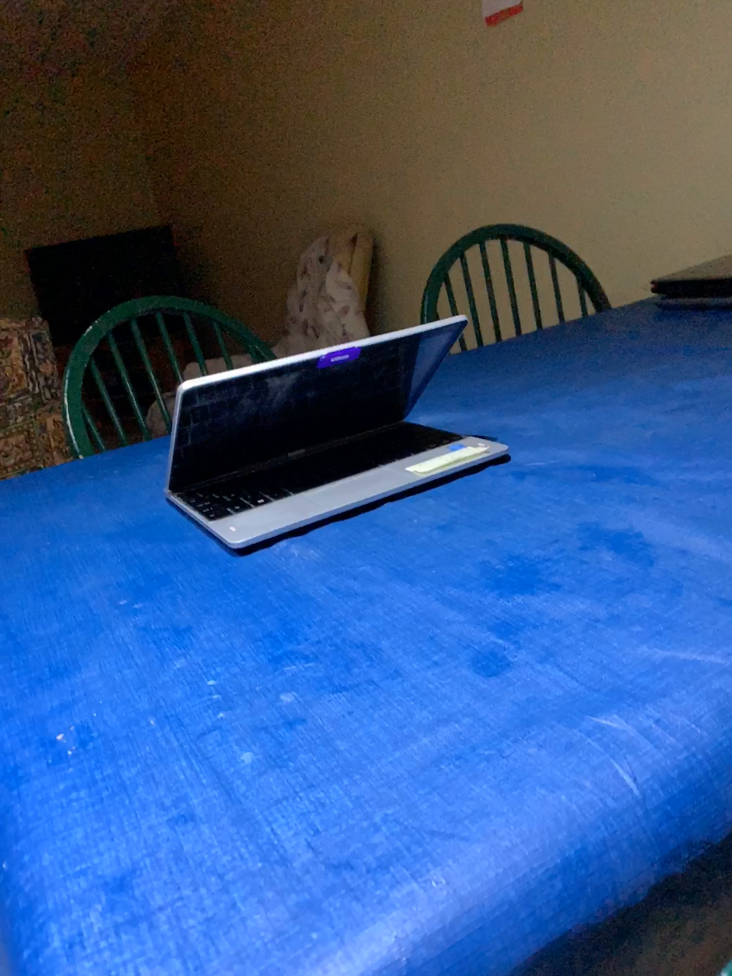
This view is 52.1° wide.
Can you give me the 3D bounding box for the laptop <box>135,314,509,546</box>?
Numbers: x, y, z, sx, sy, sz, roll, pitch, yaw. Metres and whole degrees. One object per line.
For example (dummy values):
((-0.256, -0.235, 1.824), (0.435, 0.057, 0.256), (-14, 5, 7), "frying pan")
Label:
((-0.045, -0.075, 0.707), (0.280, 0.122, 0.208), (-19, 19, -24), "laptop")
